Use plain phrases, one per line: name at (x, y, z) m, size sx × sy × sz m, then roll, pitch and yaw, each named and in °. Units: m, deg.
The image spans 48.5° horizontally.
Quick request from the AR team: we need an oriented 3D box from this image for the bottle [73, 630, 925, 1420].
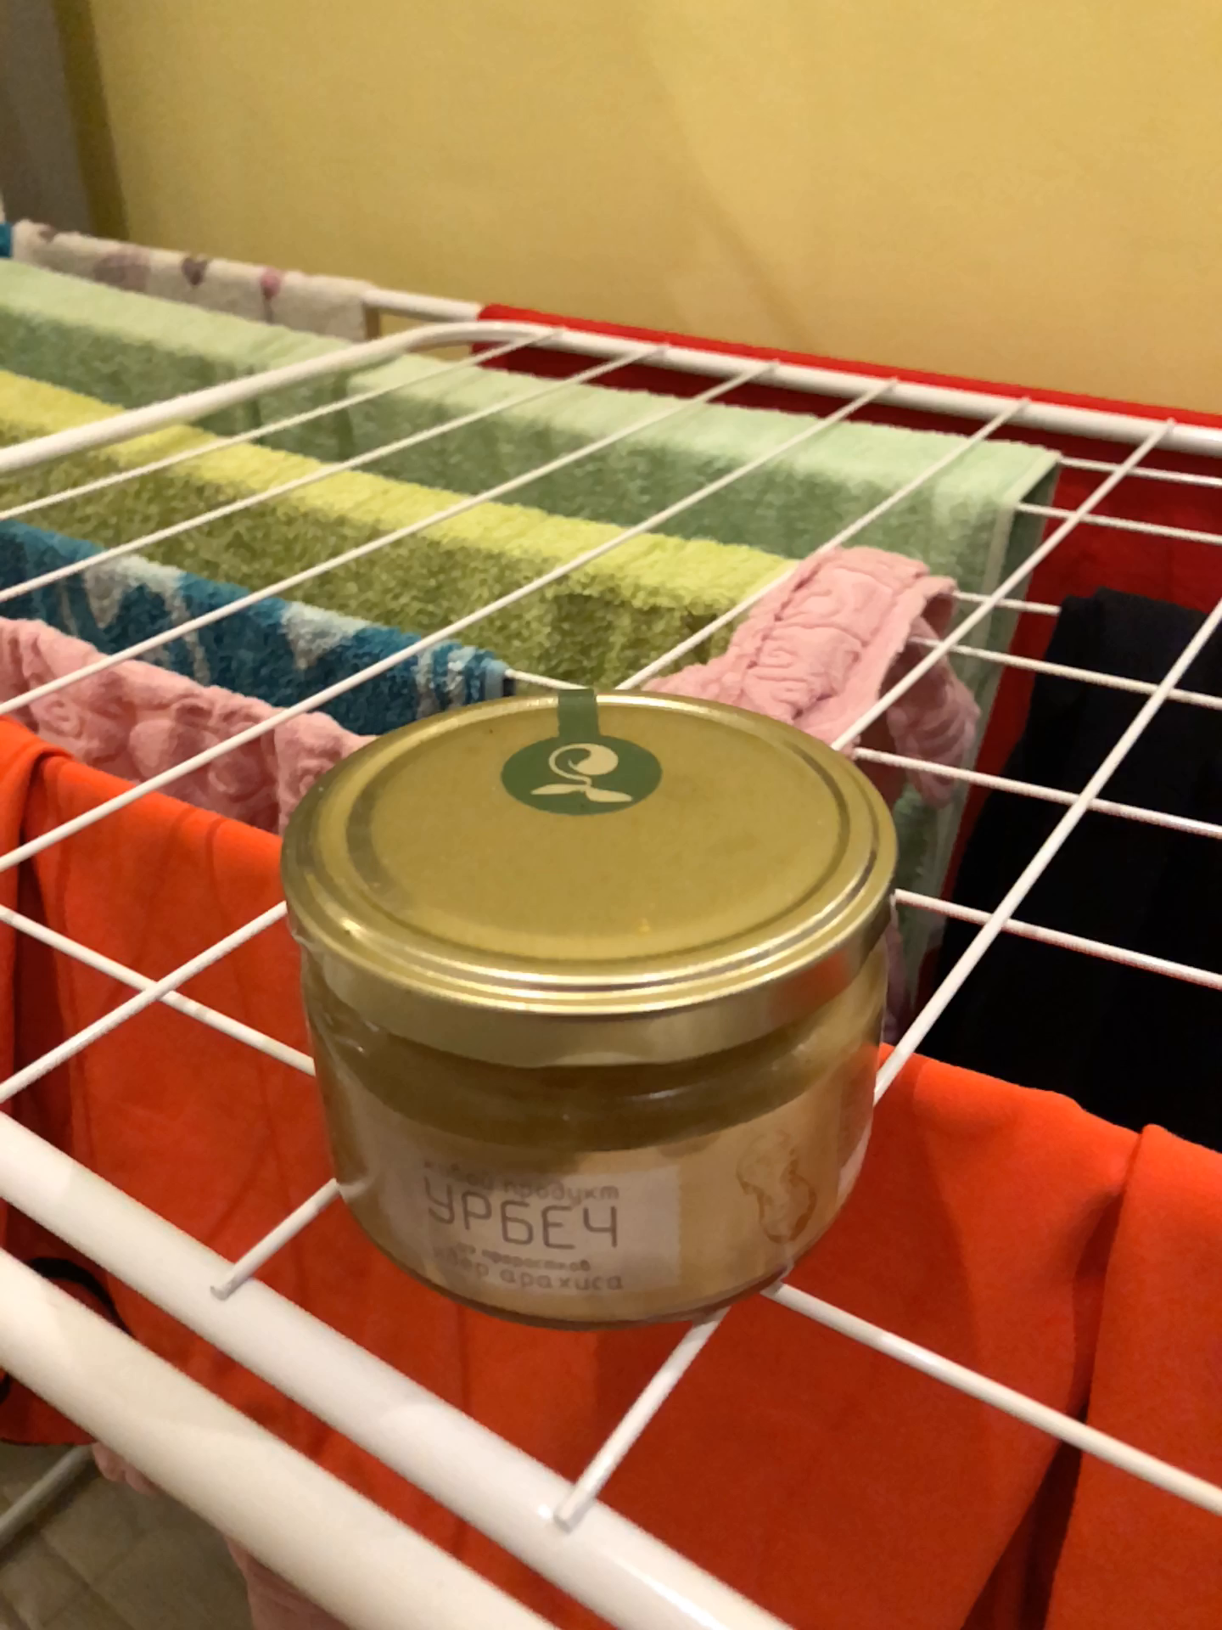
bottle at (-0.007, 0.022, 0.194) m, size 0.090 × 0.060 × 0.091 m, roll 0°, pitch 32°, yaw 0°
